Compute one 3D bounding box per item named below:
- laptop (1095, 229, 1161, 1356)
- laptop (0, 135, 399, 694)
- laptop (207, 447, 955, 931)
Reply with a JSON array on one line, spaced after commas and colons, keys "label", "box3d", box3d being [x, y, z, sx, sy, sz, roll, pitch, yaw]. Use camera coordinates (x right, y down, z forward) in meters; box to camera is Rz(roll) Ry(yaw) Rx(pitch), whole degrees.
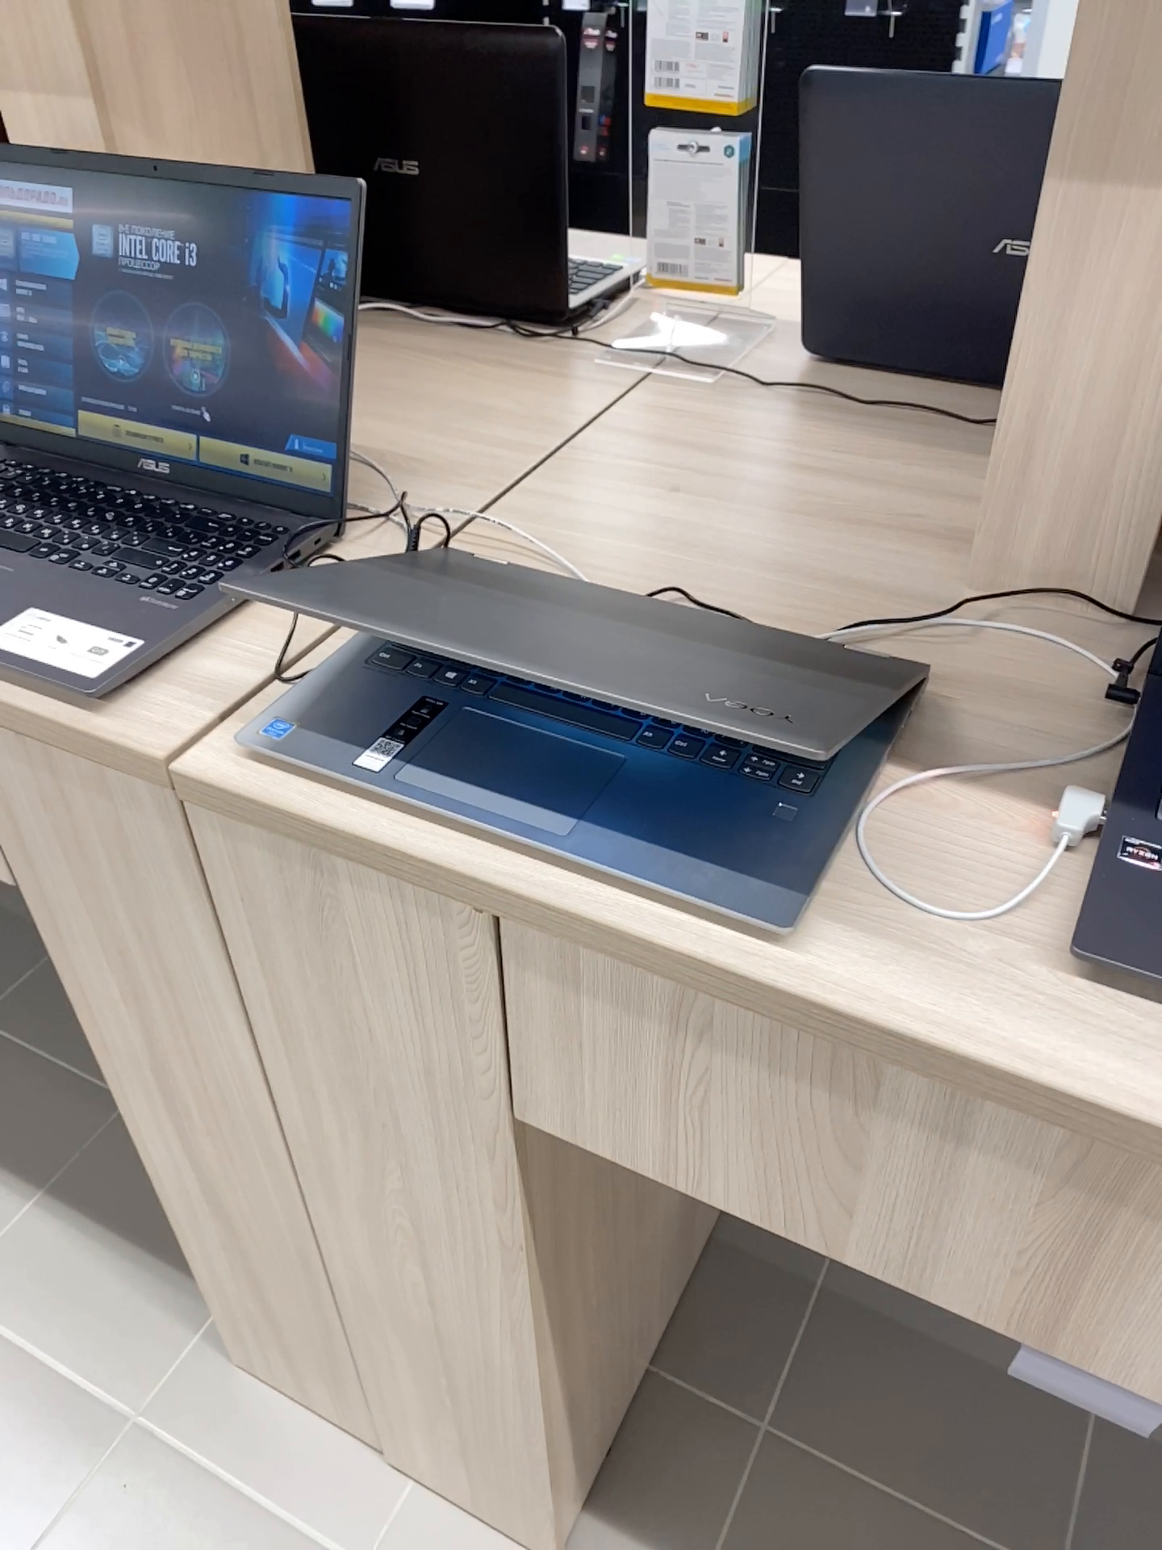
[{"label": "laptop", "box3d": [0.456, -0.045, 0.481, 0.390, 0.215, 0.304, 16, 42, 20]}, {"label": "laptop", "box3d": [-0.369, -0.266, 0.792, 0.352, 0.212, 0.309, 18, 42, 22]}, {"label": "laptop", "box3d": [0.004, -0.070, 0.643, 0.326, 0.082, 0.218, 17, 43, 23]}]
